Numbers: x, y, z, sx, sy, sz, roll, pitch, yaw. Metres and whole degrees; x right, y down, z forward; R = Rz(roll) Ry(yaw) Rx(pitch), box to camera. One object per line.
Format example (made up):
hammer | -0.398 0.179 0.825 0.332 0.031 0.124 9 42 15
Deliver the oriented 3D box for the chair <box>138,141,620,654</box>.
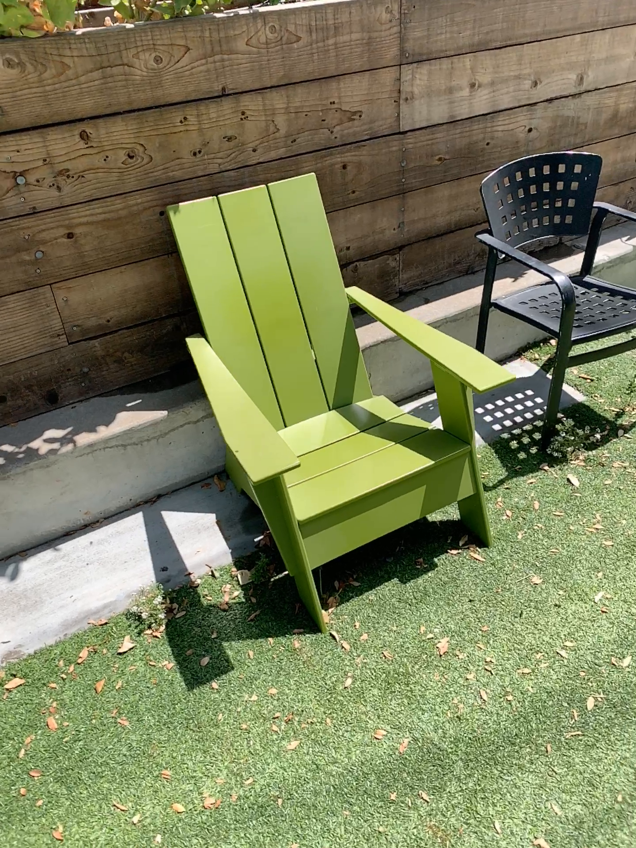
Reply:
chair | 0.082 -0.143 1.716 0.720 0.844 0.906 -19 40 -19
